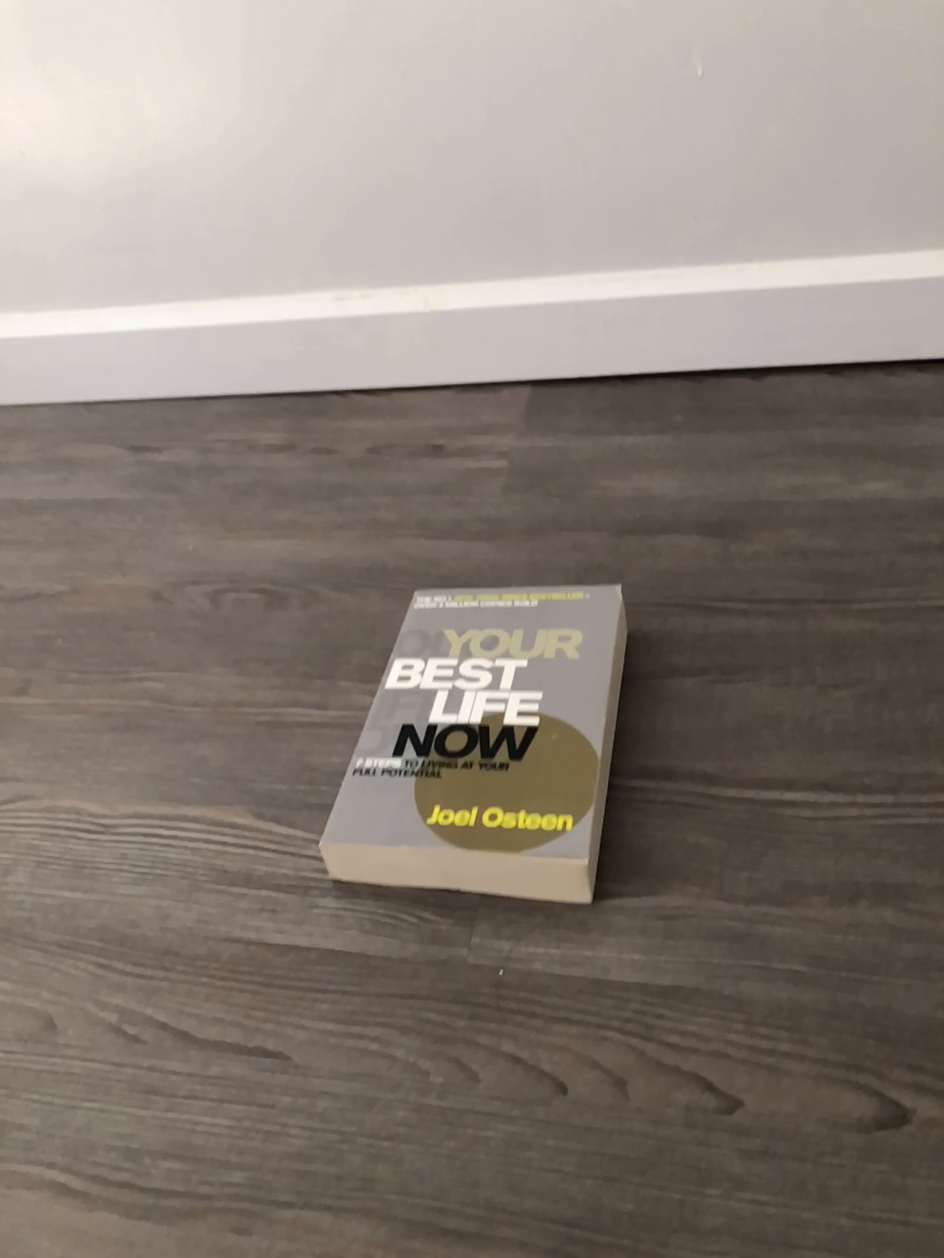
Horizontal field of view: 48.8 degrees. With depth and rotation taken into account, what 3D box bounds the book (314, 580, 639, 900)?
[{"bbox_3d":[0.013,0.047,0.560,0.136,0.030,0.202,1,40,13],"label":"book"}]
